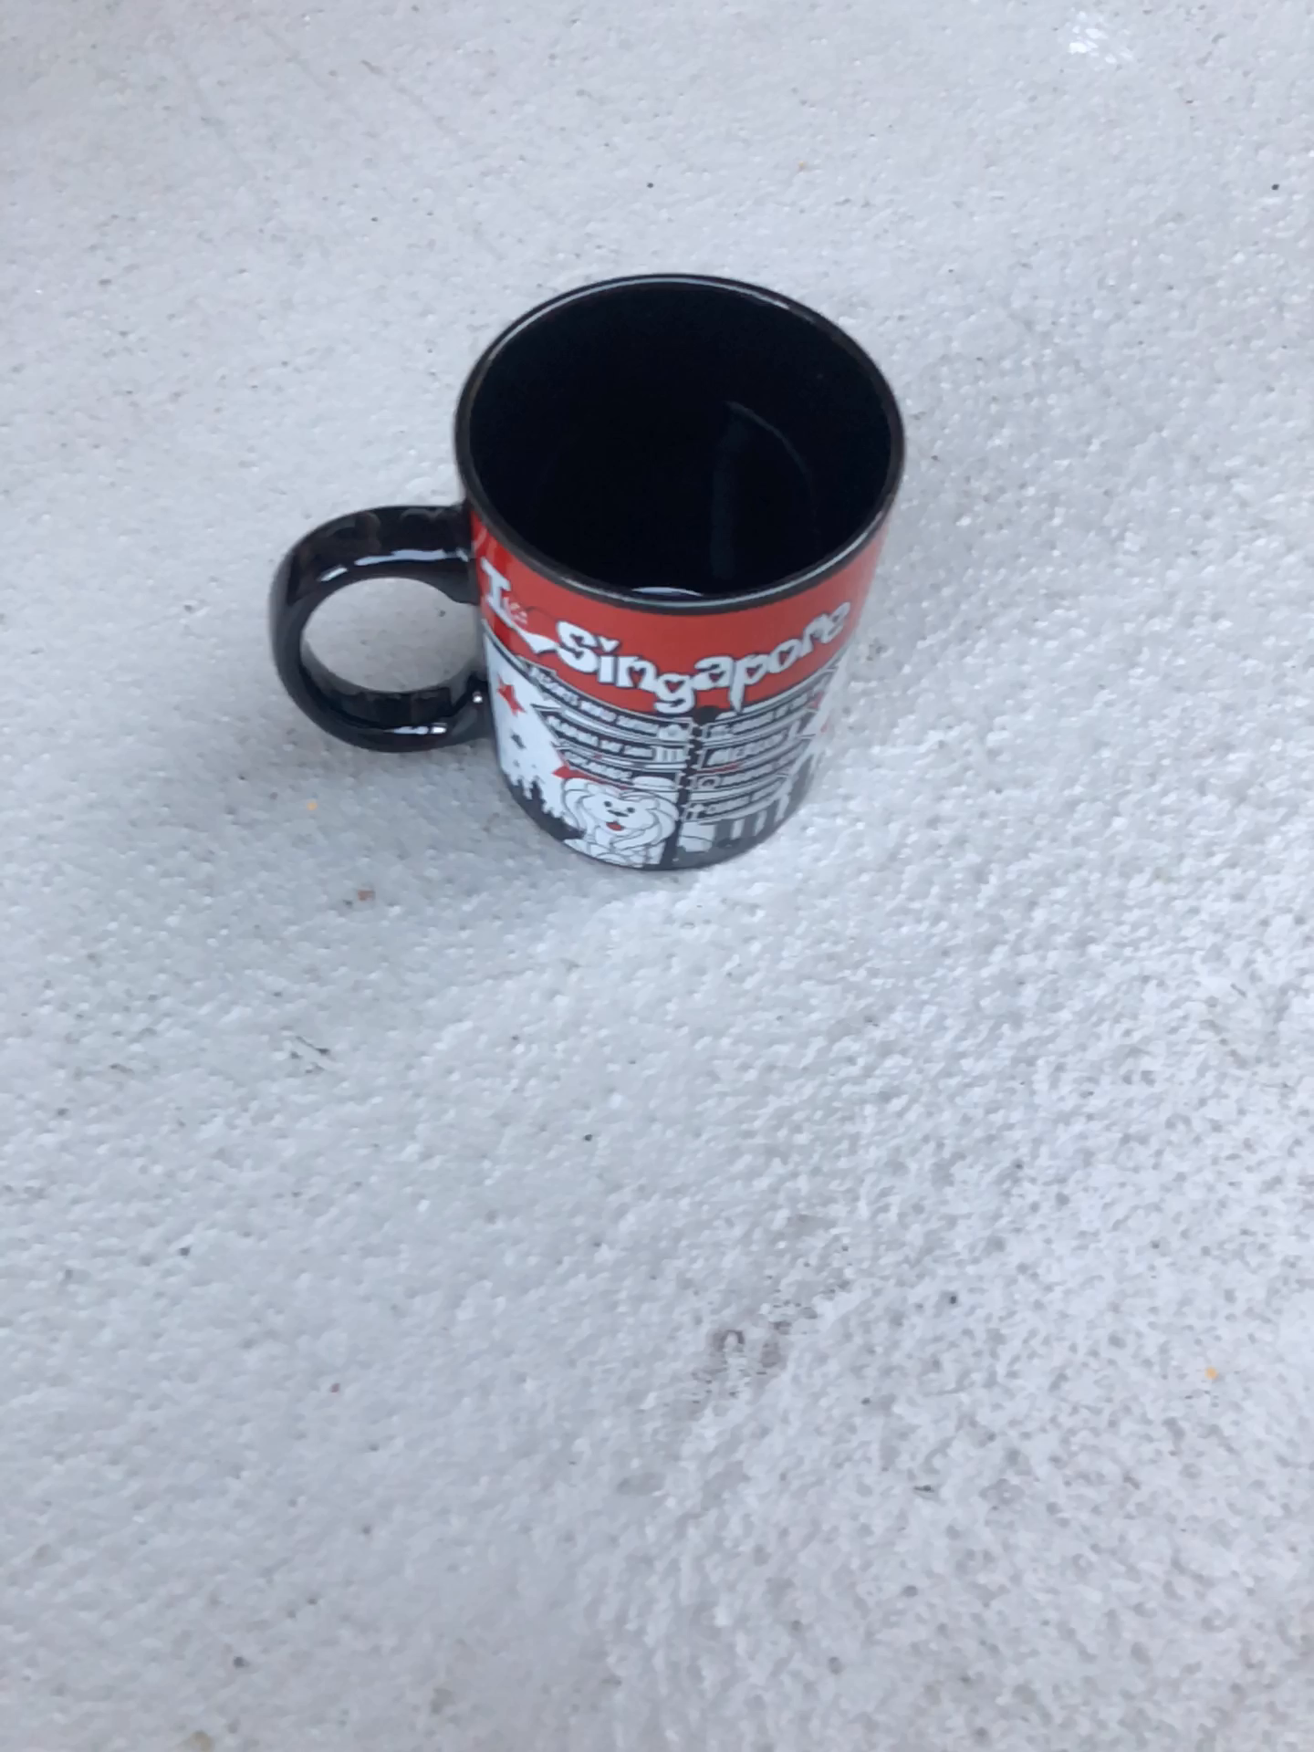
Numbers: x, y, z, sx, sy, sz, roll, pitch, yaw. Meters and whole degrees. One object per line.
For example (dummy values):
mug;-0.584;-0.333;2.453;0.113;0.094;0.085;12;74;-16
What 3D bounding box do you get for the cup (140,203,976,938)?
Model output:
cup;-0.022;-0.056;0.292;0.130;0.110;0.080;-7;62;-7
